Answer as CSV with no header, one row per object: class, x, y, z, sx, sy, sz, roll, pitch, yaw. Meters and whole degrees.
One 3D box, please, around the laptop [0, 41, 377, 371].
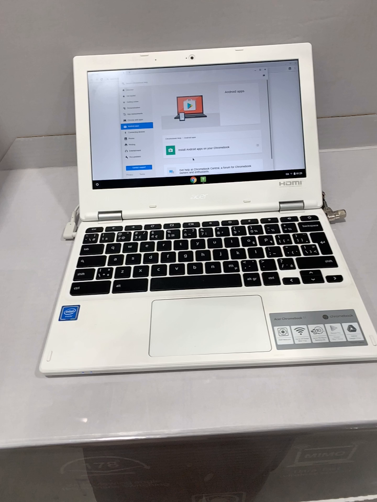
laptop,0.012,-0.072,0.387,0.282,0.132,0.330,-2,46,1
